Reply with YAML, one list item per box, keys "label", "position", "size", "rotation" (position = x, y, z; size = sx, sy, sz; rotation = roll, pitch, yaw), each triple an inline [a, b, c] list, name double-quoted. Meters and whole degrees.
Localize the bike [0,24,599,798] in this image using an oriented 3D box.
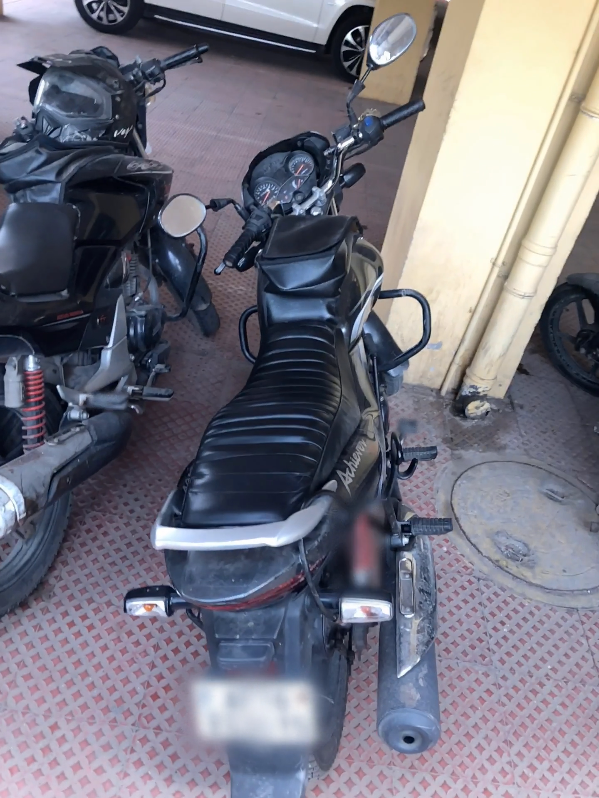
- label: "bike"
  position: [-0.103, -0.149, 1.721]
  size: [0.731, 1.125, 1.769]
  rotation: [8, 36, -6]
